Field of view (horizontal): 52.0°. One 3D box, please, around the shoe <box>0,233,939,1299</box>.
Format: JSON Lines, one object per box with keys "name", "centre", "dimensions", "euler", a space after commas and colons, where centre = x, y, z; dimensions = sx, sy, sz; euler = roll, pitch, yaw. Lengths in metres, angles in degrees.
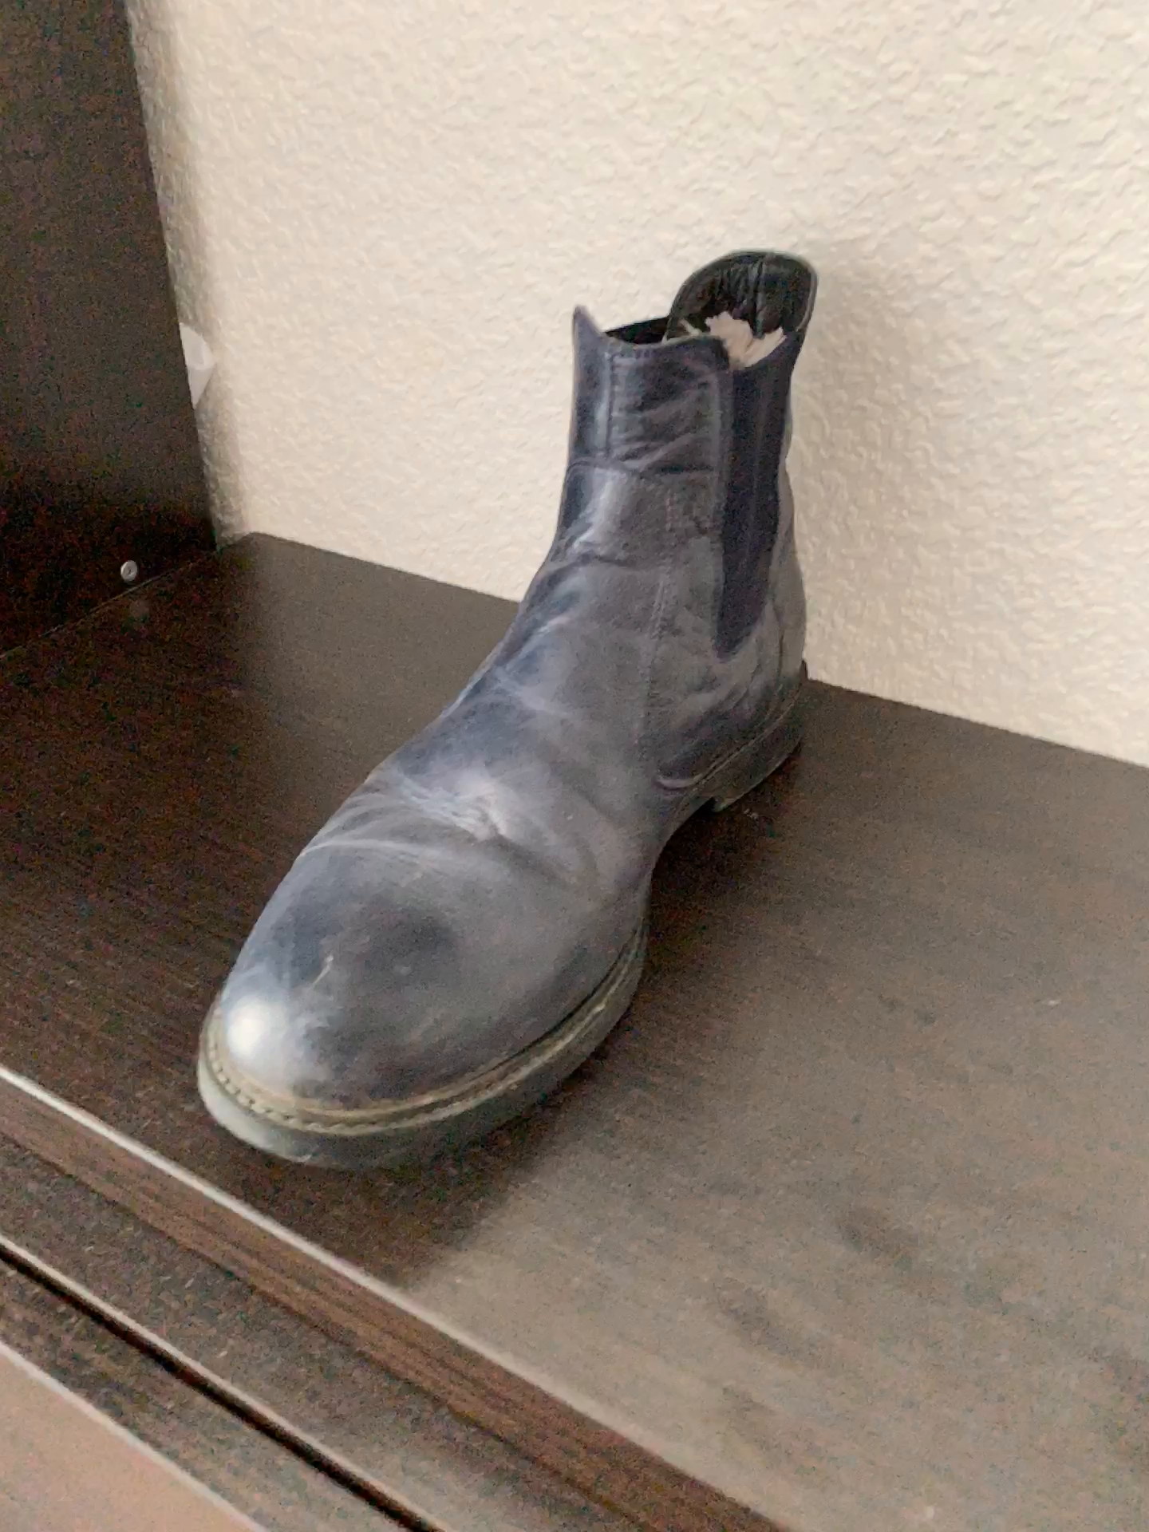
{"name": "shoe", "centre": [-0.006, -0.038, 0.344], "dimensions": [0.110, 0.159, 0.301], "euler": [19, 39, 25]}
